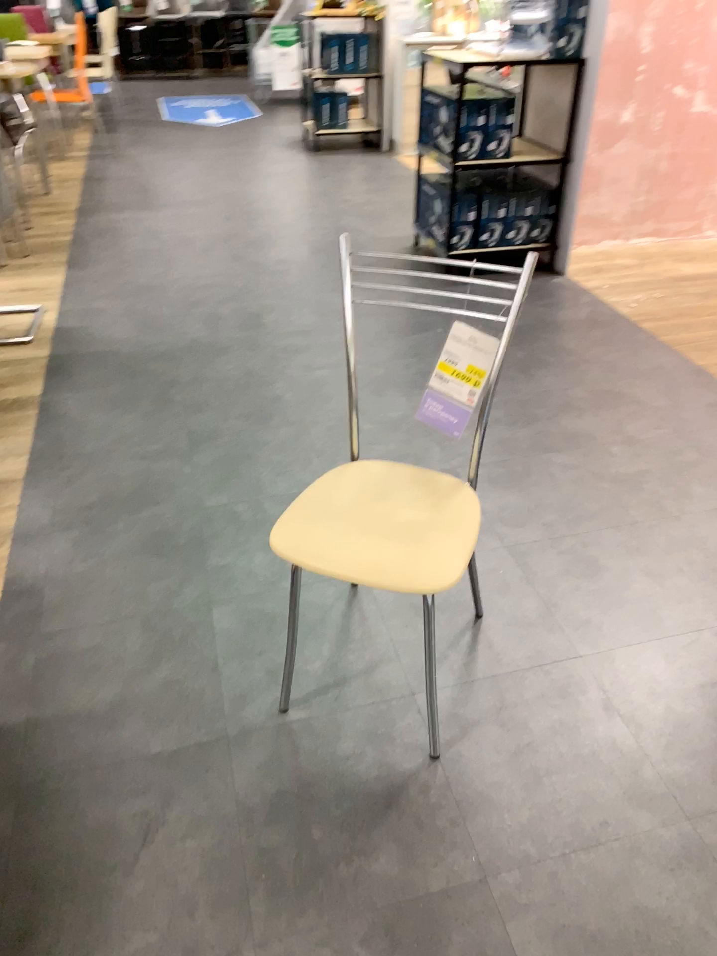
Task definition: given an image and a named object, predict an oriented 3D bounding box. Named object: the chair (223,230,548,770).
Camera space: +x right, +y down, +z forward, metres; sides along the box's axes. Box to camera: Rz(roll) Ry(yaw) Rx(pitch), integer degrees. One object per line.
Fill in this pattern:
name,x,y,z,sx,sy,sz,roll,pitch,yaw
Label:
chair,0.073,0.047,1.465,0.410,0.905,0.483,11,36,16
